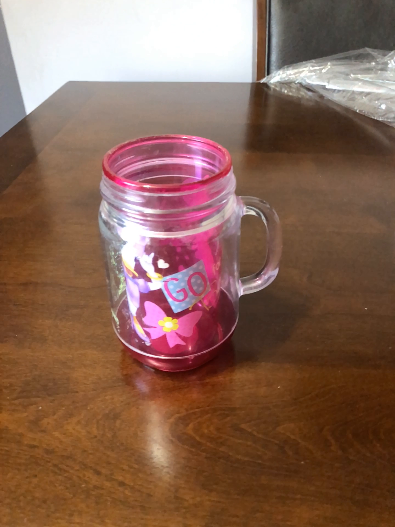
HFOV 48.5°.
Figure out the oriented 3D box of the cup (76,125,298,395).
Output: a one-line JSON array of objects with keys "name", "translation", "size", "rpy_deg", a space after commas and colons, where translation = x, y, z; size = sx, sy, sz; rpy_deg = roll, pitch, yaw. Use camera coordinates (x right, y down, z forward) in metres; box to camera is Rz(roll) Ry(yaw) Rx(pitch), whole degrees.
[{"name": "cup", "translation": [-0.010, -0.002, 0.317], "size": [0.120, 0.159, 0.080], "rpy_deg": [-10, 37, -13]}]
